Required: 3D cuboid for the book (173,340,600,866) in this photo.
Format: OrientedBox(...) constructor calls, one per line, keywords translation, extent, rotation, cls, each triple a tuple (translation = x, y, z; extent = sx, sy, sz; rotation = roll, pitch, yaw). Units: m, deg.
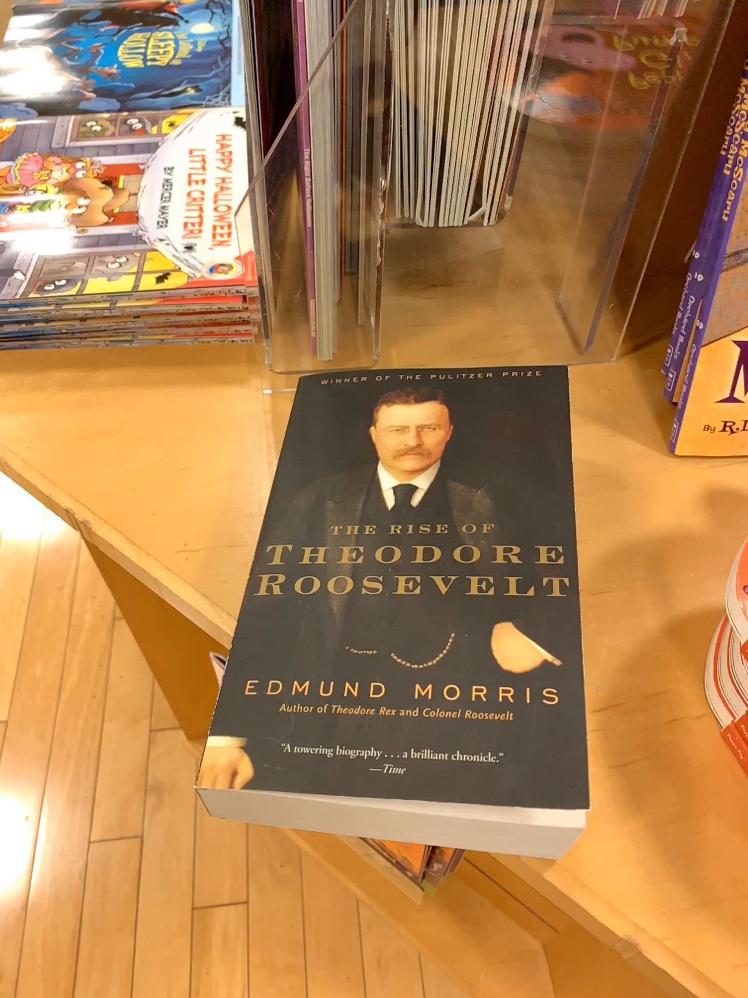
OrientedBox(translation=(0.015, 0.030, 0.319), extent=(0.130, 0.066, 0.195), rotation=(6, 53, 5), cls="book")
